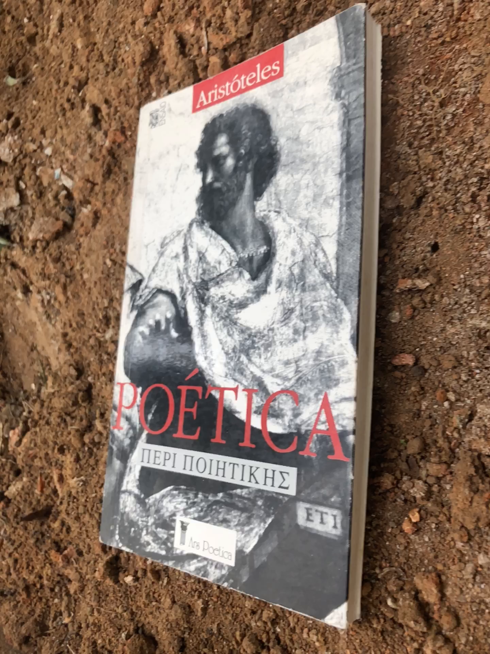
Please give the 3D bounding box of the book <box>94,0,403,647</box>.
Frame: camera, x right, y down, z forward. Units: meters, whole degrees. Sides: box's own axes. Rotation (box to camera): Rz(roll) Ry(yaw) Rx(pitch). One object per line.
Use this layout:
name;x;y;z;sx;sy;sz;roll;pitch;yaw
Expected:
book;-0.006;-0.005;0.207;0.131;0.015;0.189;-3;81;43
